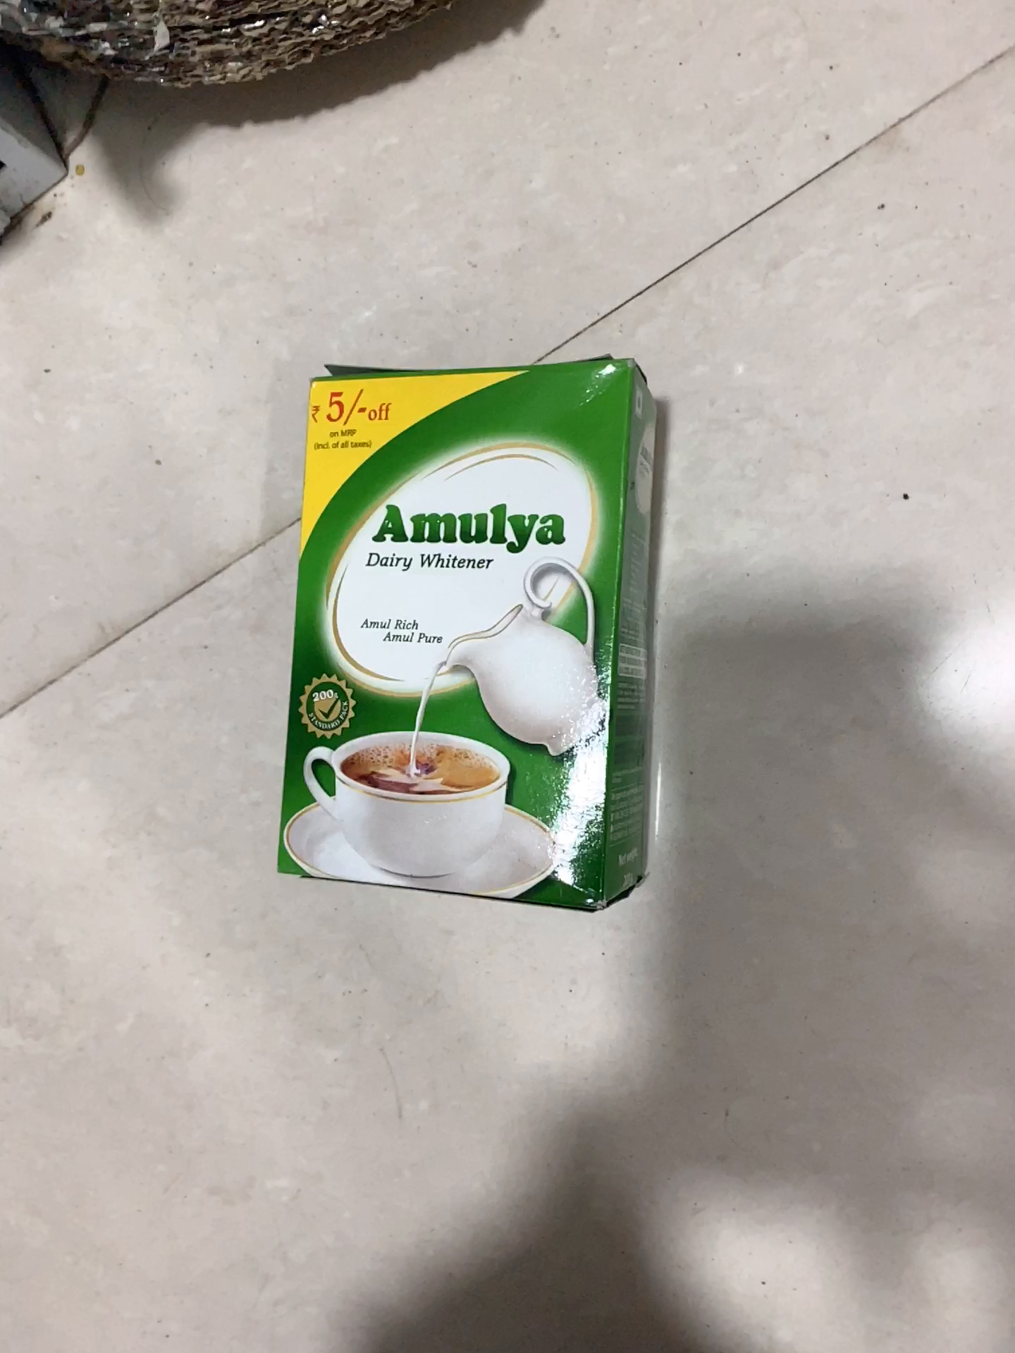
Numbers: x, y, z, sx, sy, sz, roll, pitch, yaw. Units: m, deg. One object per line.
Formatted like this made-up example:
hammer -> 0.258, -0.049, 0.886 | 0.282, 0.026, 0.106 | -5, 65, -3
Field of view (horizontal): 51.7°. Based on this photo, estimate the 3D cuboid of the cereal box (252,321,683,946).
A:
cereal box -> -0.007, -0.011, 0.276 | 0.090, 0.060, 0.140 | 3, 89, 18
